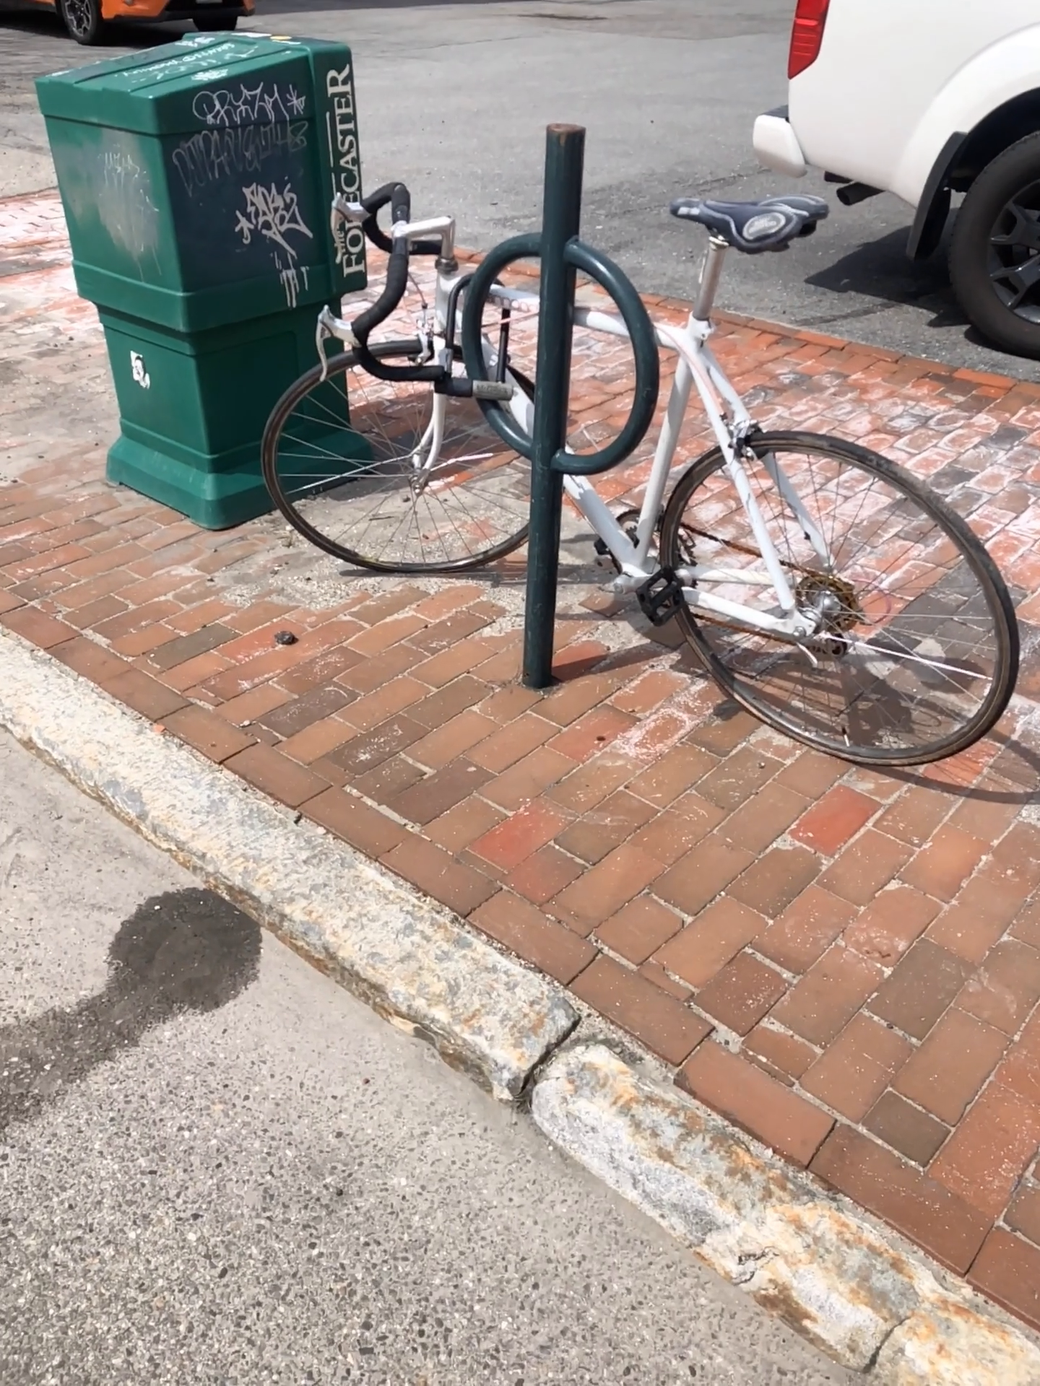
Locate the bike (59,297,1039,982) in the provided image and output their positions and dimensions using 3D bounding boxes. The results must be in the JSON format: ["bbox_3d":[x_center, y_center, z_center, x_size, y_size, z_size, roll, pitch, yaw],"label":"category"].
[{"bbox_3d":[0.028,-0.156,1.690,1.275,0.650,0.467,17,37,27],"label":"bike"}]
